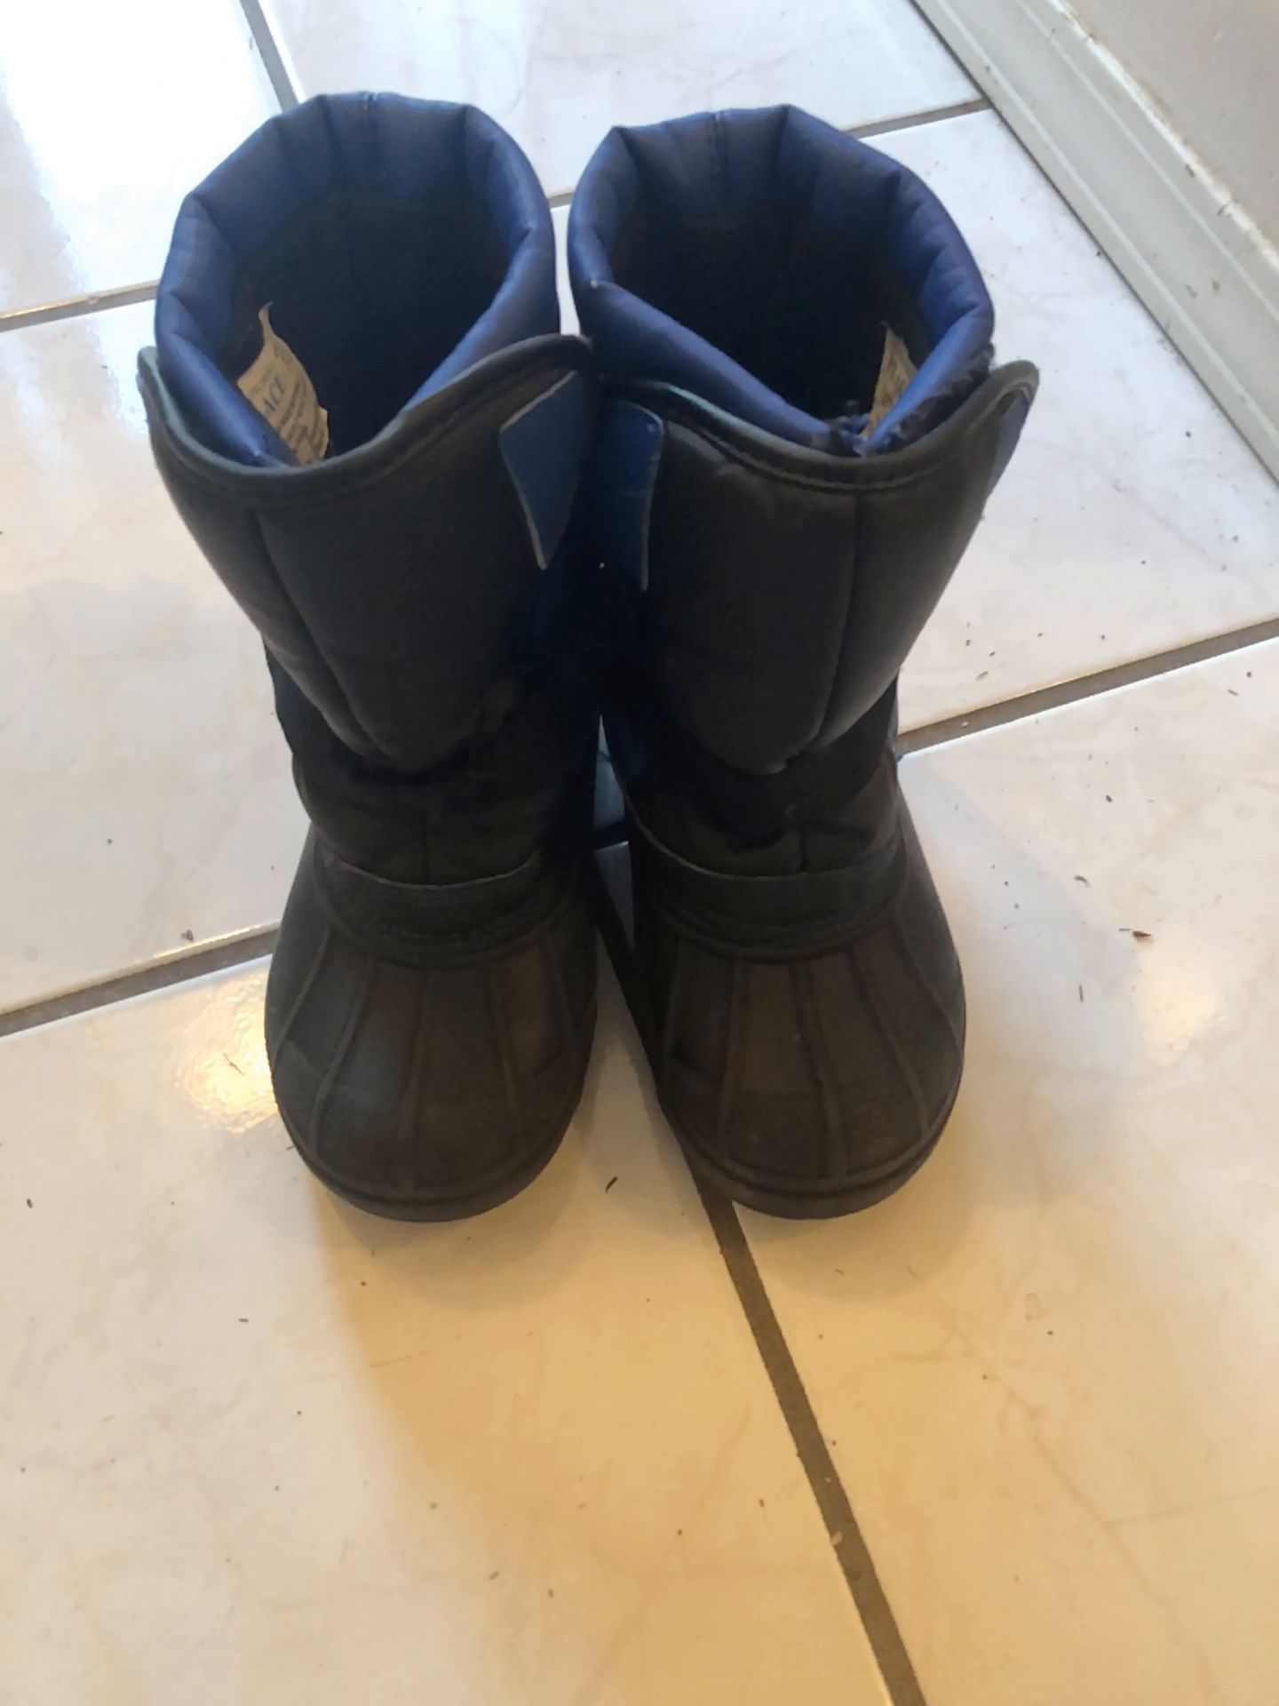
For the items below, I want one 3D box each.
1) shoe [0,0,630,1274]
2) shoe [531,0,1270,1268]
[{"bbox_3d":[-0.059,-0.041,0.339,0.100,0.199,0.231,-3,61,-1],"label":"shoe"},{"bbox_3d":[0.035,-0.048,0.359,0.100,0.199,0.251,-4,61,-2],"label":"shoe"}]
